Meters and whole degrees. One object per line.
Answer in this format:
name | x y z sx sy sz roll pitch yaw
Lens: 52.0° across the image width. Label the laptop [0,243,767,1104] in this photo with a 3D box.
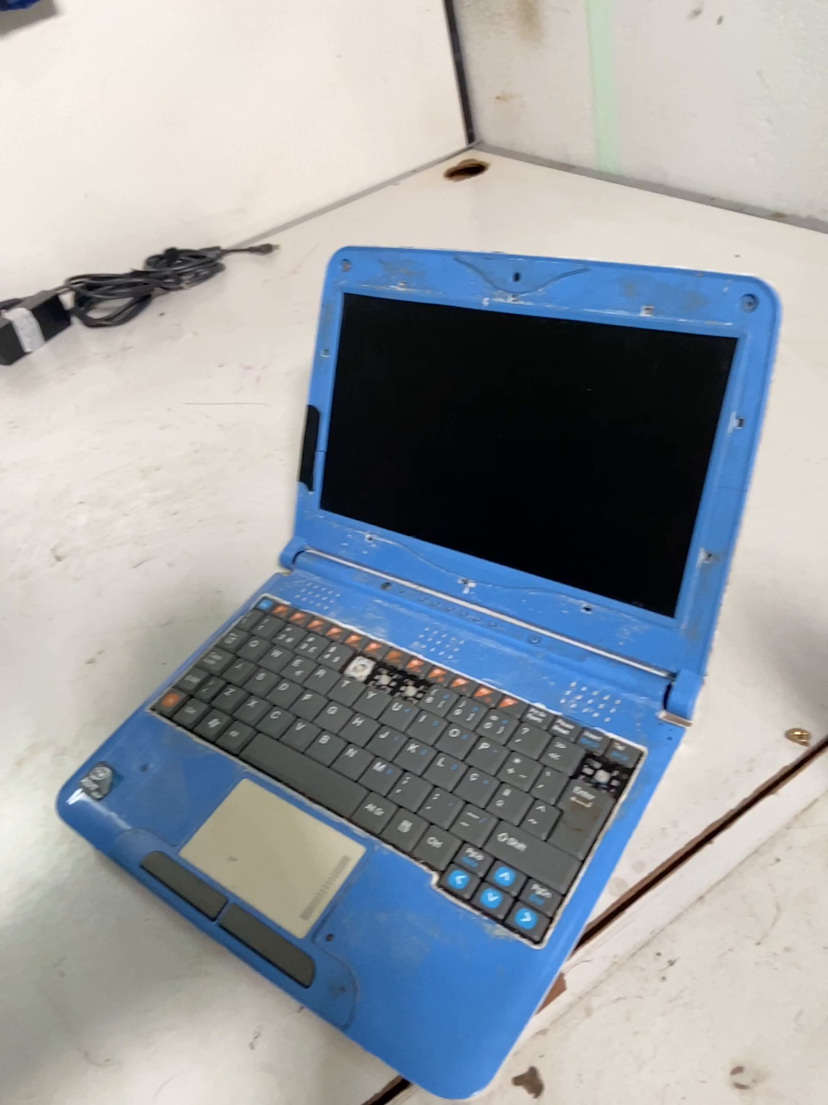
laptop | -0.014 0.005 0.380 0.241 0.149 0.287 17 50 32
